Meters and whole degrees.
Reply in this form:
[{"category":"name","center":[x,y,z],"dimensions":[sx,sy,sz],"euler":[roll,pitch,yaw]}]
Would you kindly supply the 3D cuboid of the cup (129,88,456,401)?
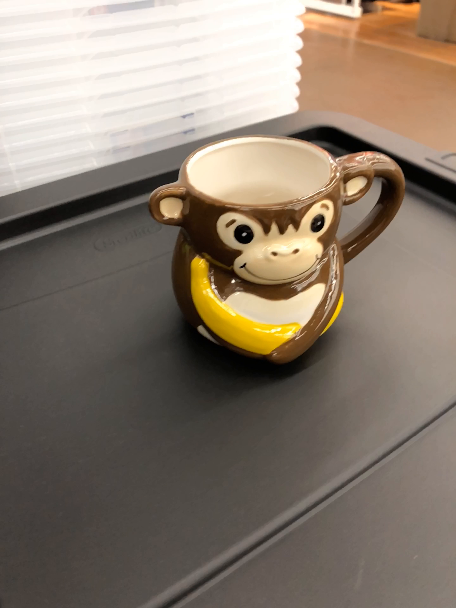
[{"category":"cup","center":[0.043,-0.043,0.284],"dimensions":[0.160,0.100,0.110],"euler":[-15,41,-17]}]
